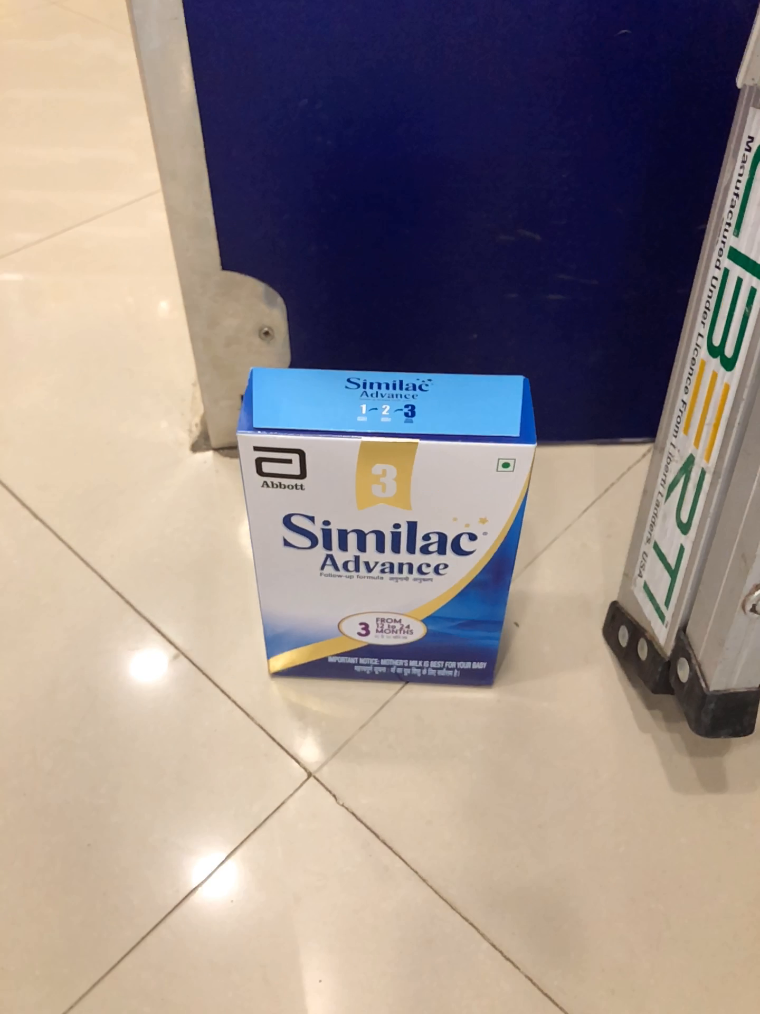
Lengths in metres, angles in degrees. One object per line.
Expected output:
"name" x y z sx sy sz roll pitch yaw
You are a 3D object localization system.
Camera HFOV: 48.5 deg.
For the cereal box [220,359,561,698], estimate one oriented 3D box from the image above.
"cereal box" 0.005 0.022 0.436 0.140 0.199 0.050 3 47 2
